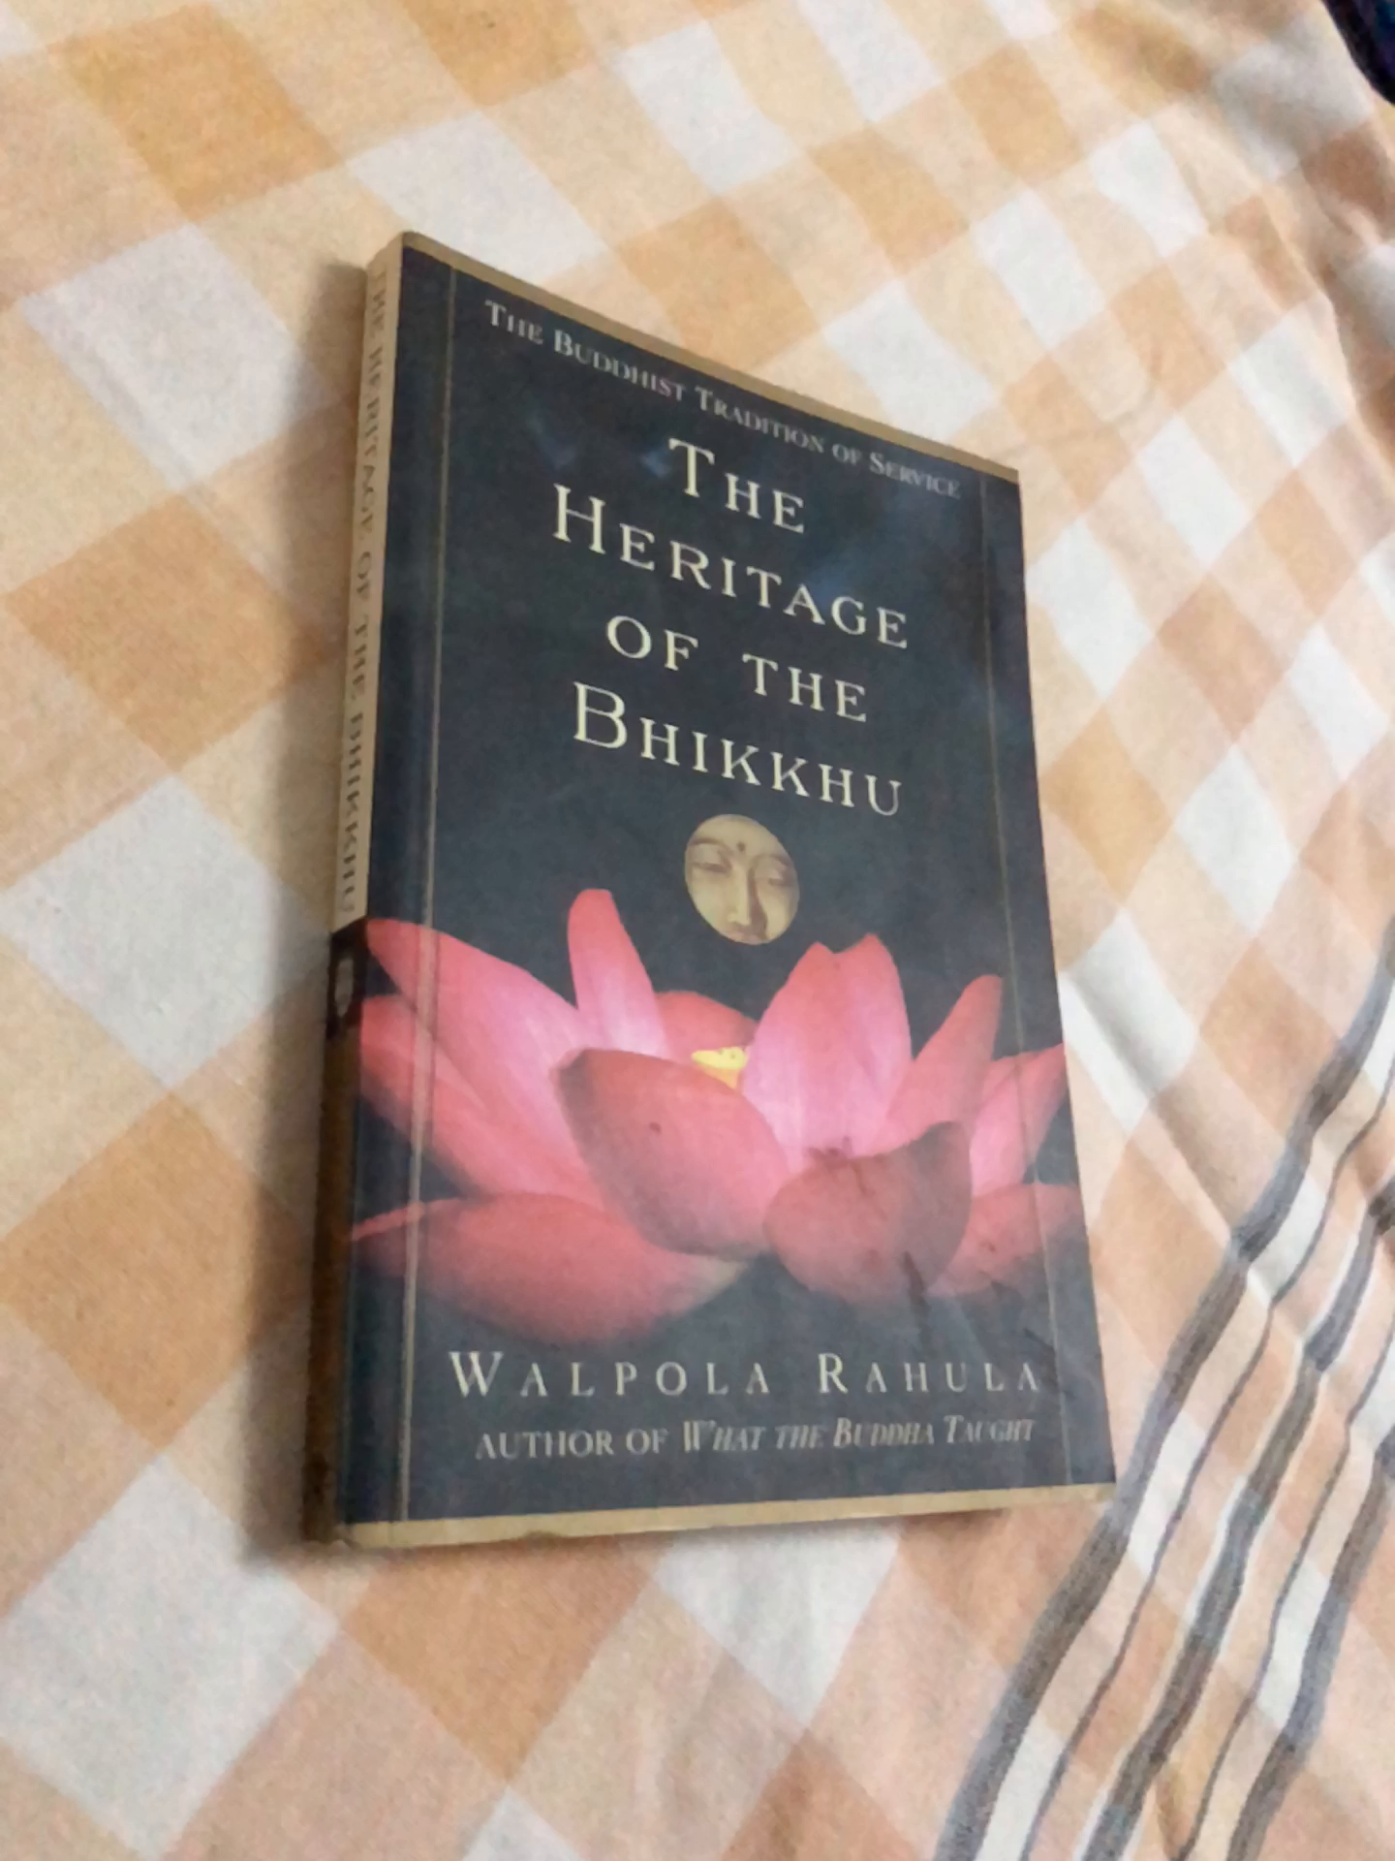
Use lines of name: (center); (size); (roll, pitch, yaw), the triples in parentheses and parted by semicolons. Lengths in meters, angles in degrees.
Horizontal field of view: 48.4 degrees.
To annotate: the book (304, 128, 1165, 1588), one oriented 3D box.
book: (0.009, -0.012, 0.270); (0.141, 0.030, 0.220); (10, 68, -34)
